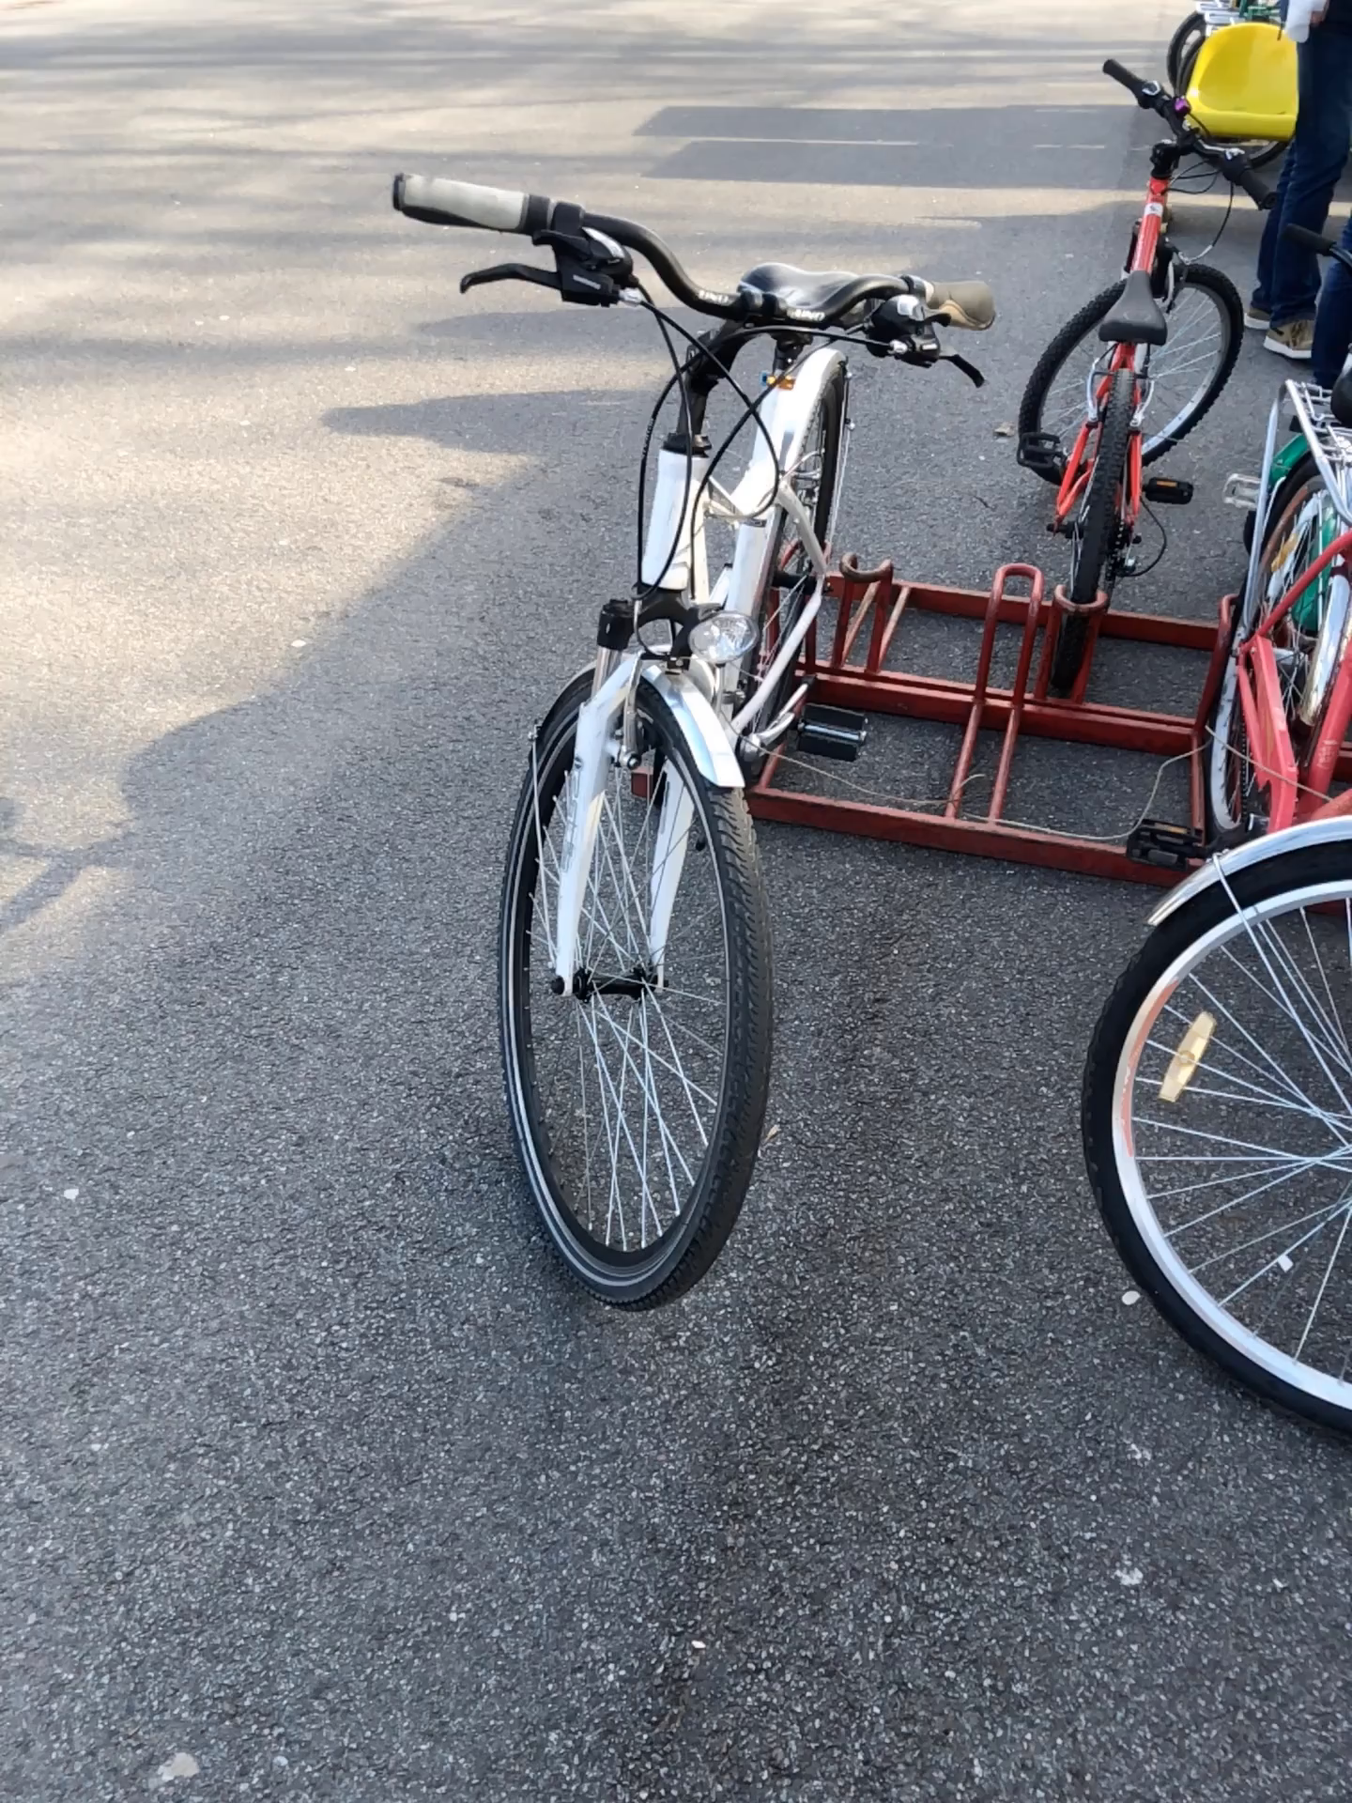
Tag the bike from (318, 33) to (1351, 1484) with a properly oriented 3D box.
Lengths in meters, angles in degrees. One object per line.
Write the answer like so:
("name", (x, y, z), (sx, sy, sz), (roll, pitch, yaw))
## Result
("bike", (0.198, -0.397, 1.906), (0.644, 1.112, 1.707), (3, 36, 7))
